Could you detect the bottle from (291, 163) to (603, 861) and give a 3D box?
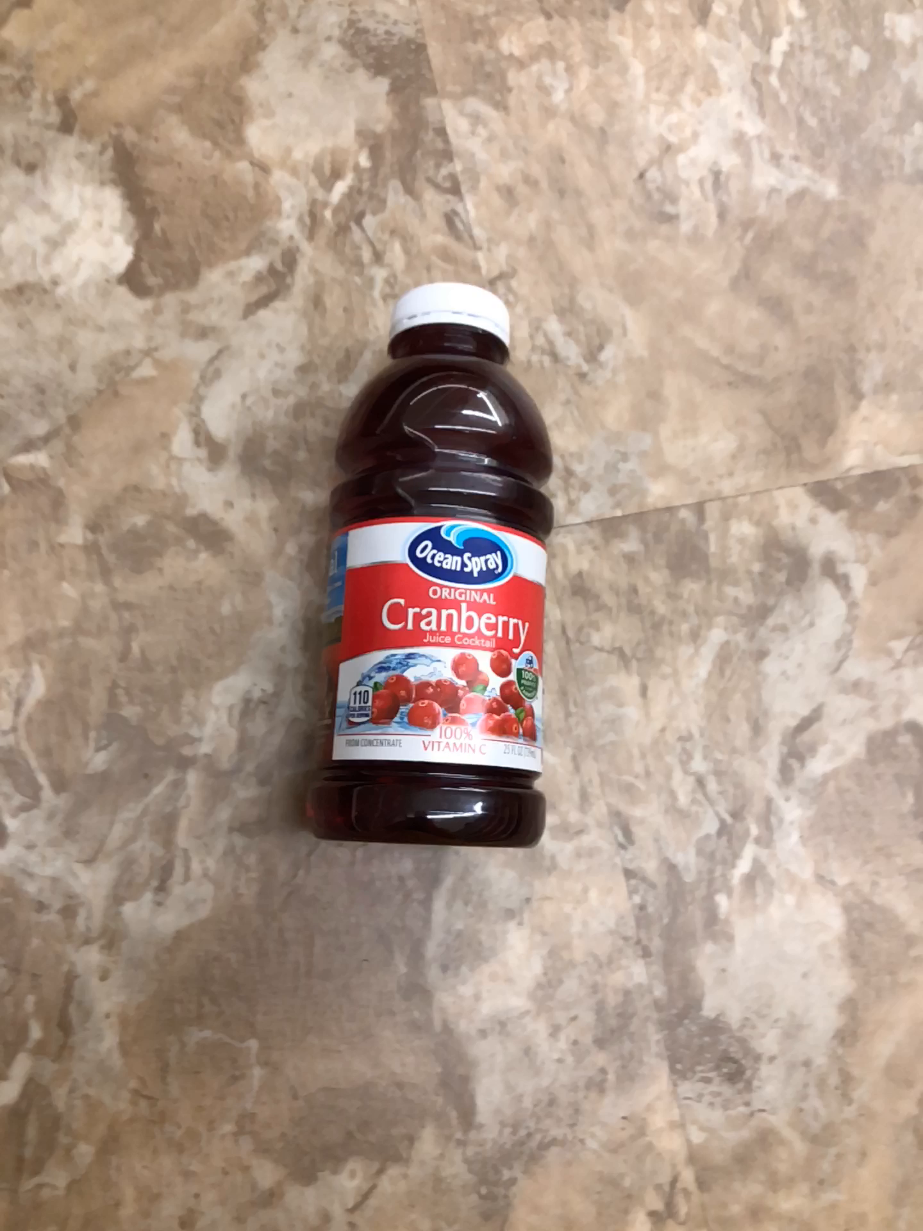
[{"bbox_3d":[-0.006,-0.031,0.370,0.089,0.083,0.226,4,78,-7],"label":"bottle"}]
